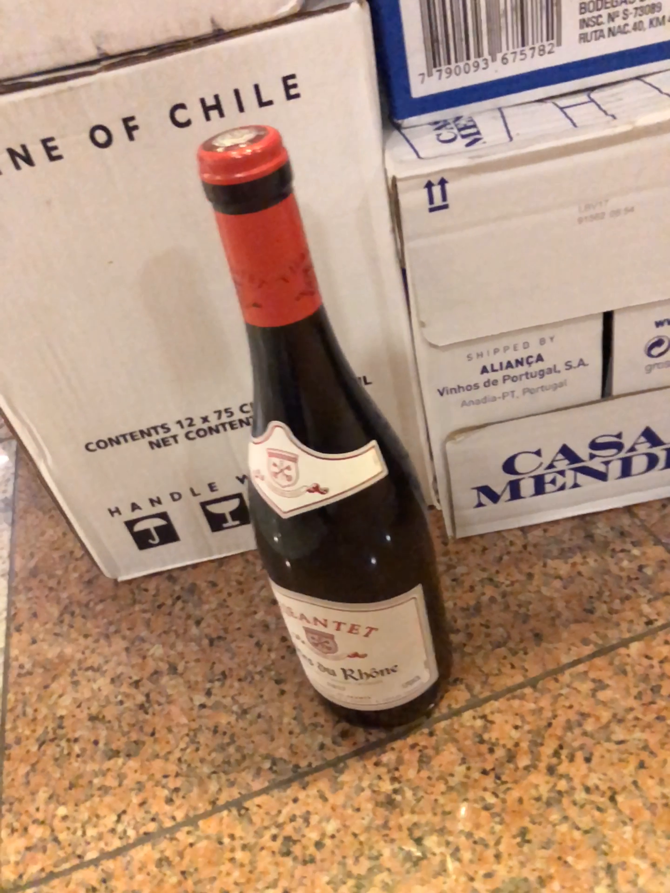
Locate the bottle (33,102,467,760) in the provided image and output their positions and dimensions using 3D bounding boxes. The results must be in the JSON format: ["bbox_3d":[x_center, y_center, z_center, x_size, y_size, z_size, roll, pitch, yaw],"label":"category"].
[{"bbox_3d":[-0.008,0.017,0.325,0.090,0.288,0.080,6,43,24],"label":"bottle"}]
